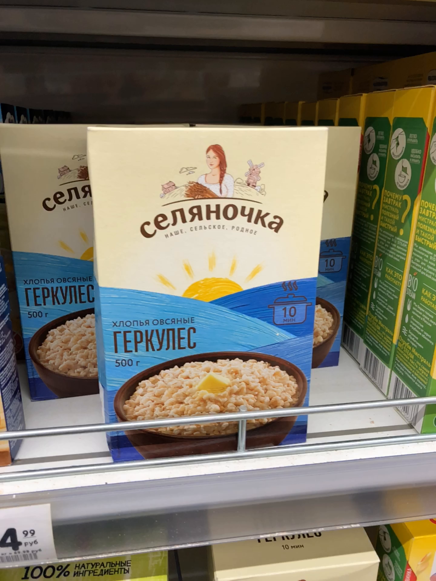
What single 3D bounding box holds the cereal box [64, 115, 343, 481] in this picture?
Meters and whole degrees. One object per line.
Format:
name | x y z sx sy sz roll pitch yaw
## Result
cereal box | -0.008 0.003 0.285 0.130 0.199 0.060 -3 19 -8
